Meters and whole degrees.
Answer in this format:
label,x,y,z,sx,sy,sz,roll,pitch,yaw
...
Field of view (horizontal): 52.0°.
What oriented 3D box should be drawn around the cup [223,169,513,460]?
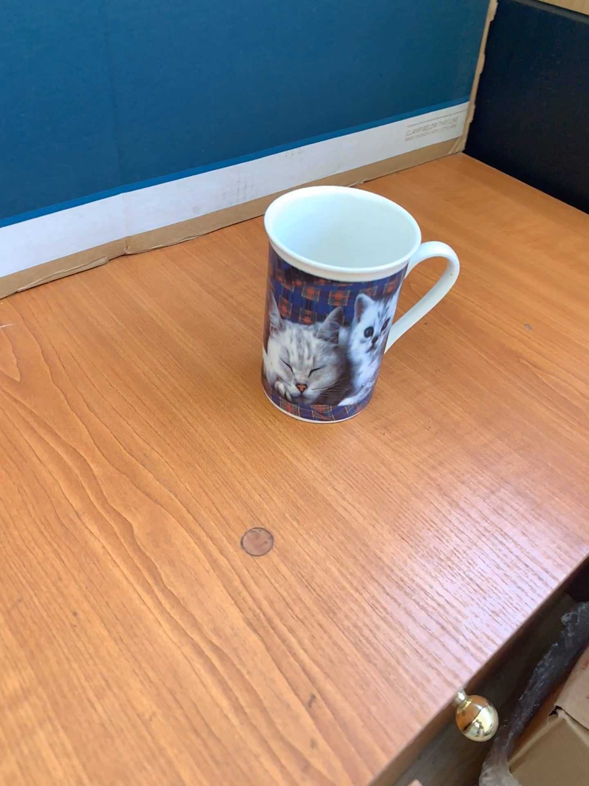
label,x,y,z,sx,sy,sz,roll,pitch,yaw
cup,0.030,-0.044,0.317,0.110,0.100,0.080,-19,50,-23
